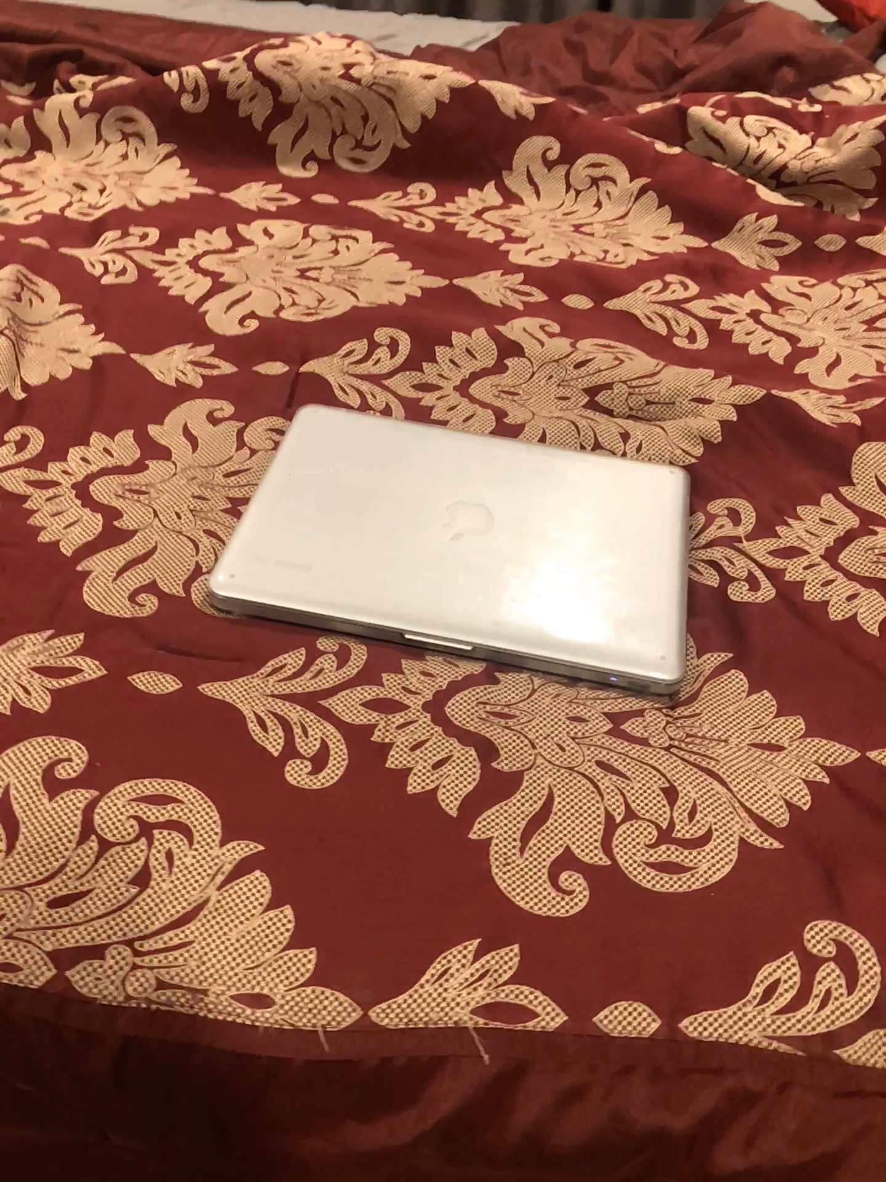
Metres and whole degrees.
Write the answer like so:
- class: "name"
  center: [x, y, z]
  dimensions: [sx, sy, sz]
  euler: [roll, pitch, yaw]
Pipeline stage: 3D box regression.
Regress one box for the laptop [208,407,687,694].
- class: "laptop"
  center: [0.016, -0.041, 0.691]
  dimensions: [0.304, 0.015, 0.208]
  euler: [10, 46, 6]
